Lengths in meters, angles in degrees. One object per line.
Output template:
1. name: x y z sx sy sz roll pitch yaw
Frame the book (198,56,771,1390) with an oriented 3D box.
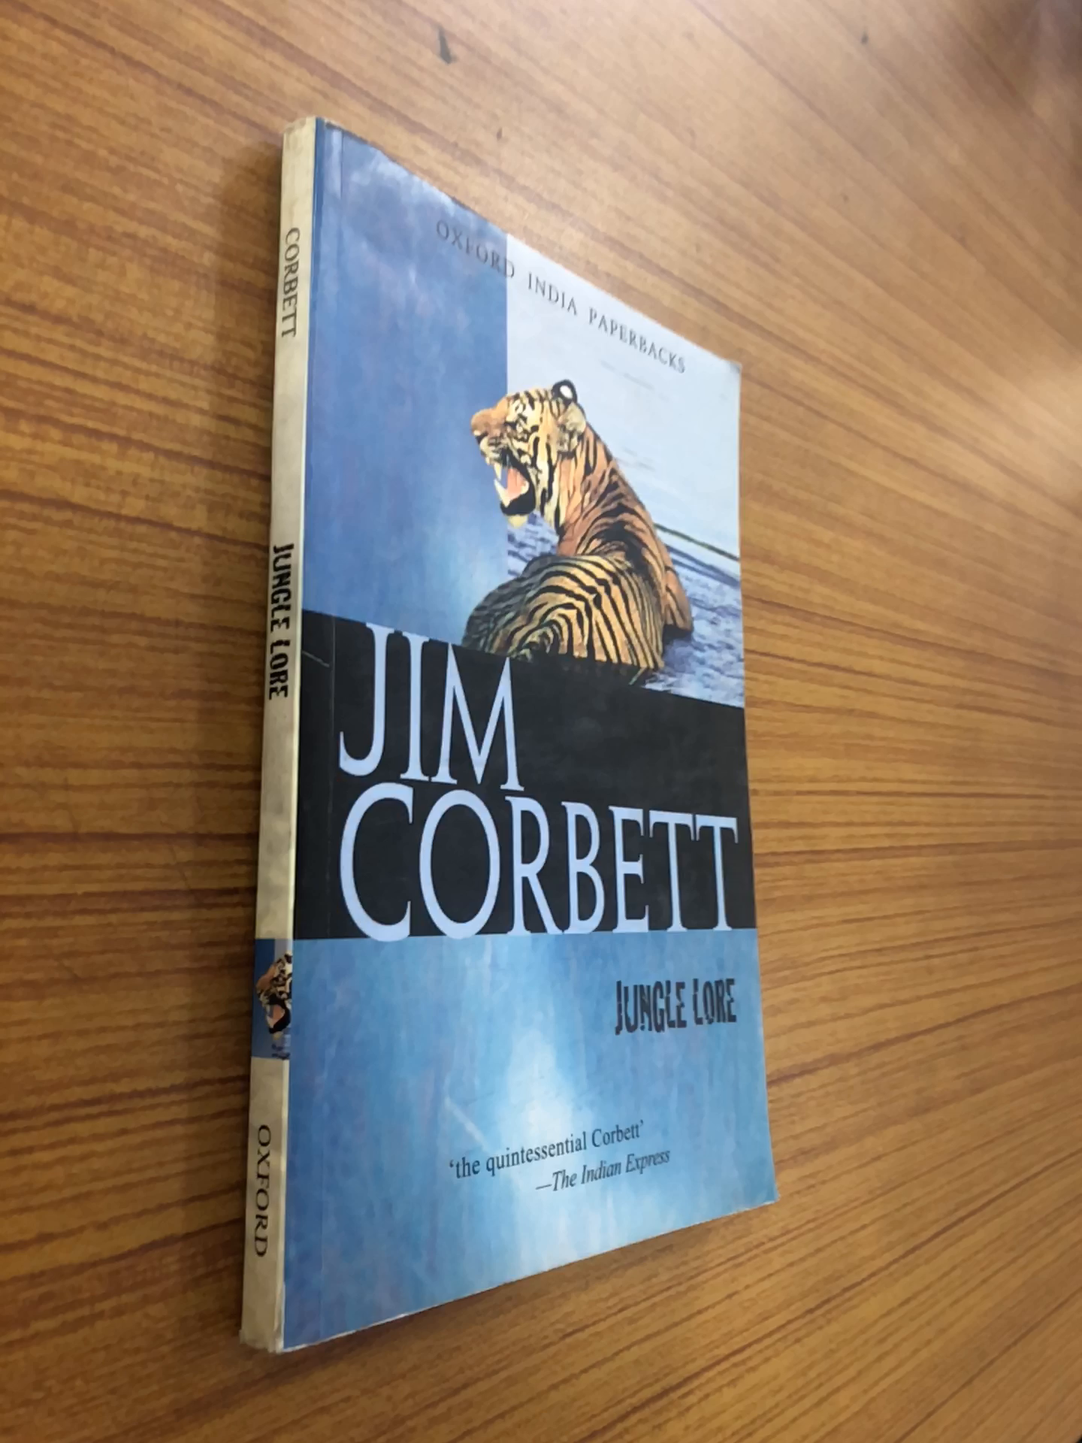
1. book: 0.000 0.000 0.257 0.151 0.010 0.220 9 77 -47
